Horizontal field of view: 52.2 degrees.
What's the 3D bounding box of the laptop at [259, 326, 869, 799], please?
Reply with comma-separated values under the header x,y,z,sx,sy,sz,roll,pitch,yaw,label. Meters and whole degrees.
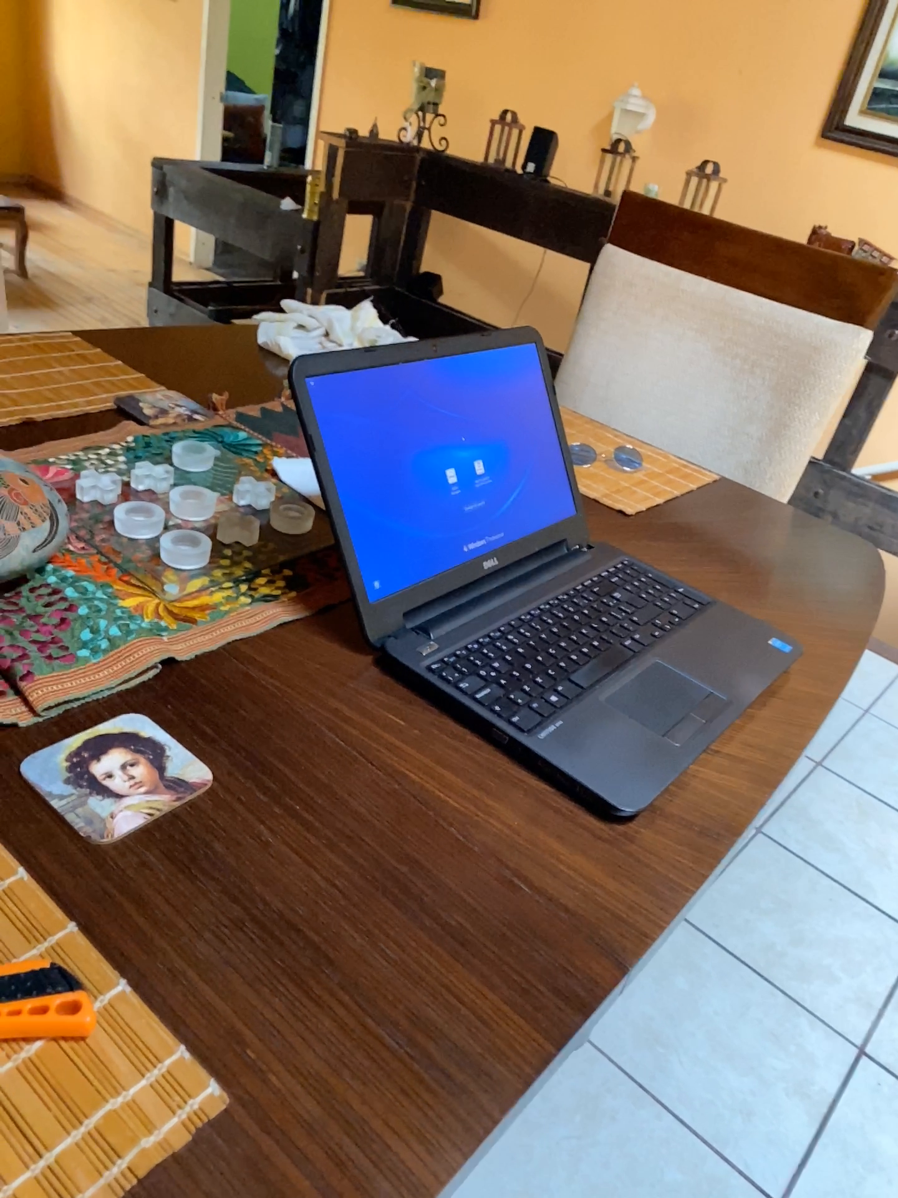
x,y,z,sx,sy,sz,roll,pitch,yaw,label
0.107,-0.080,0.847,0.395,0.194,0.369,31,34,27,laptop
